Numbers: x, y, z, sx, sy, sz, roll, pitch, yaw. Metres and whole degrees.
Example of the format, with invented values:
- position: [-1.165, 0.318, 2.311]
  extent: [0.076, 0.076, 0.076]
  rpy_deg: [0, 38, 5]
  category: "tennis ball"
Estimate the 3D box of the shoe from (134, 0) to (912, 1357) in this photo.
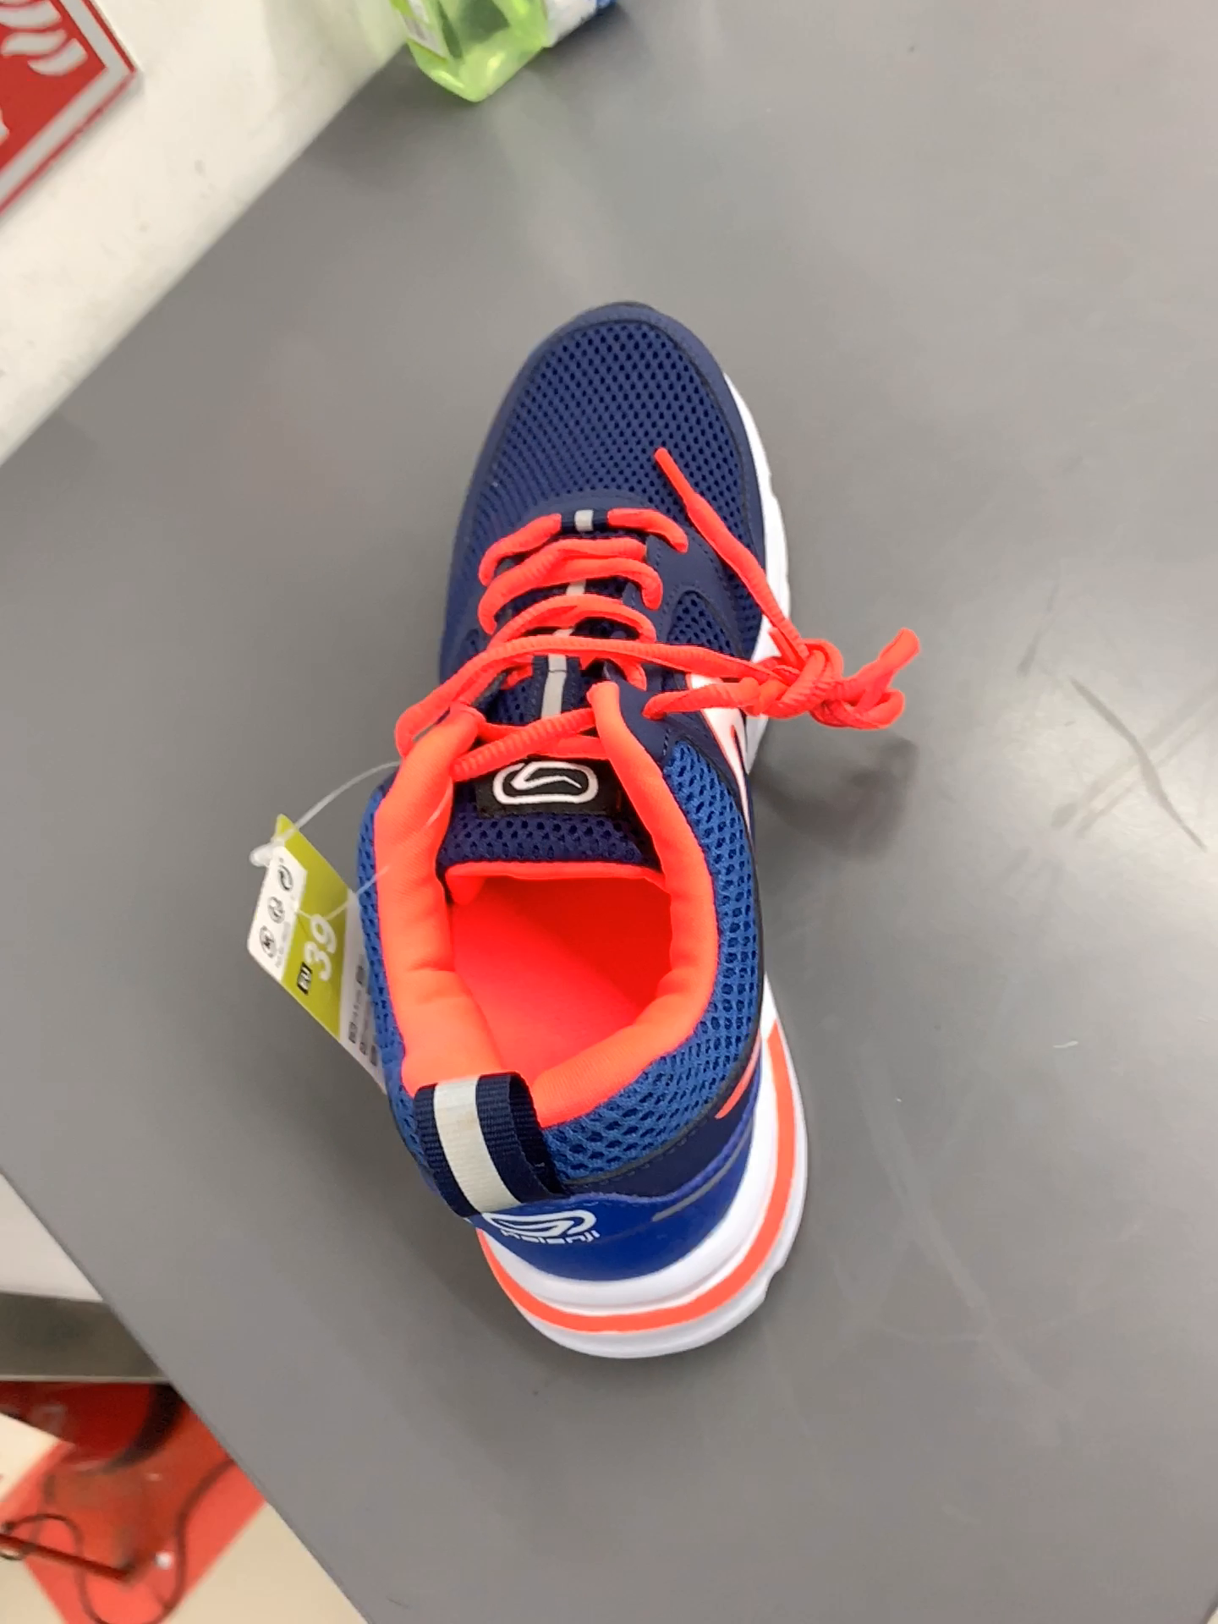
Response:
- position: [-0.004, -0.030, 0.303]
  extent: [0.110, 0.140, 0.290]
  rpy_deg: [-7, 65, 14]
  category: "shoe"
